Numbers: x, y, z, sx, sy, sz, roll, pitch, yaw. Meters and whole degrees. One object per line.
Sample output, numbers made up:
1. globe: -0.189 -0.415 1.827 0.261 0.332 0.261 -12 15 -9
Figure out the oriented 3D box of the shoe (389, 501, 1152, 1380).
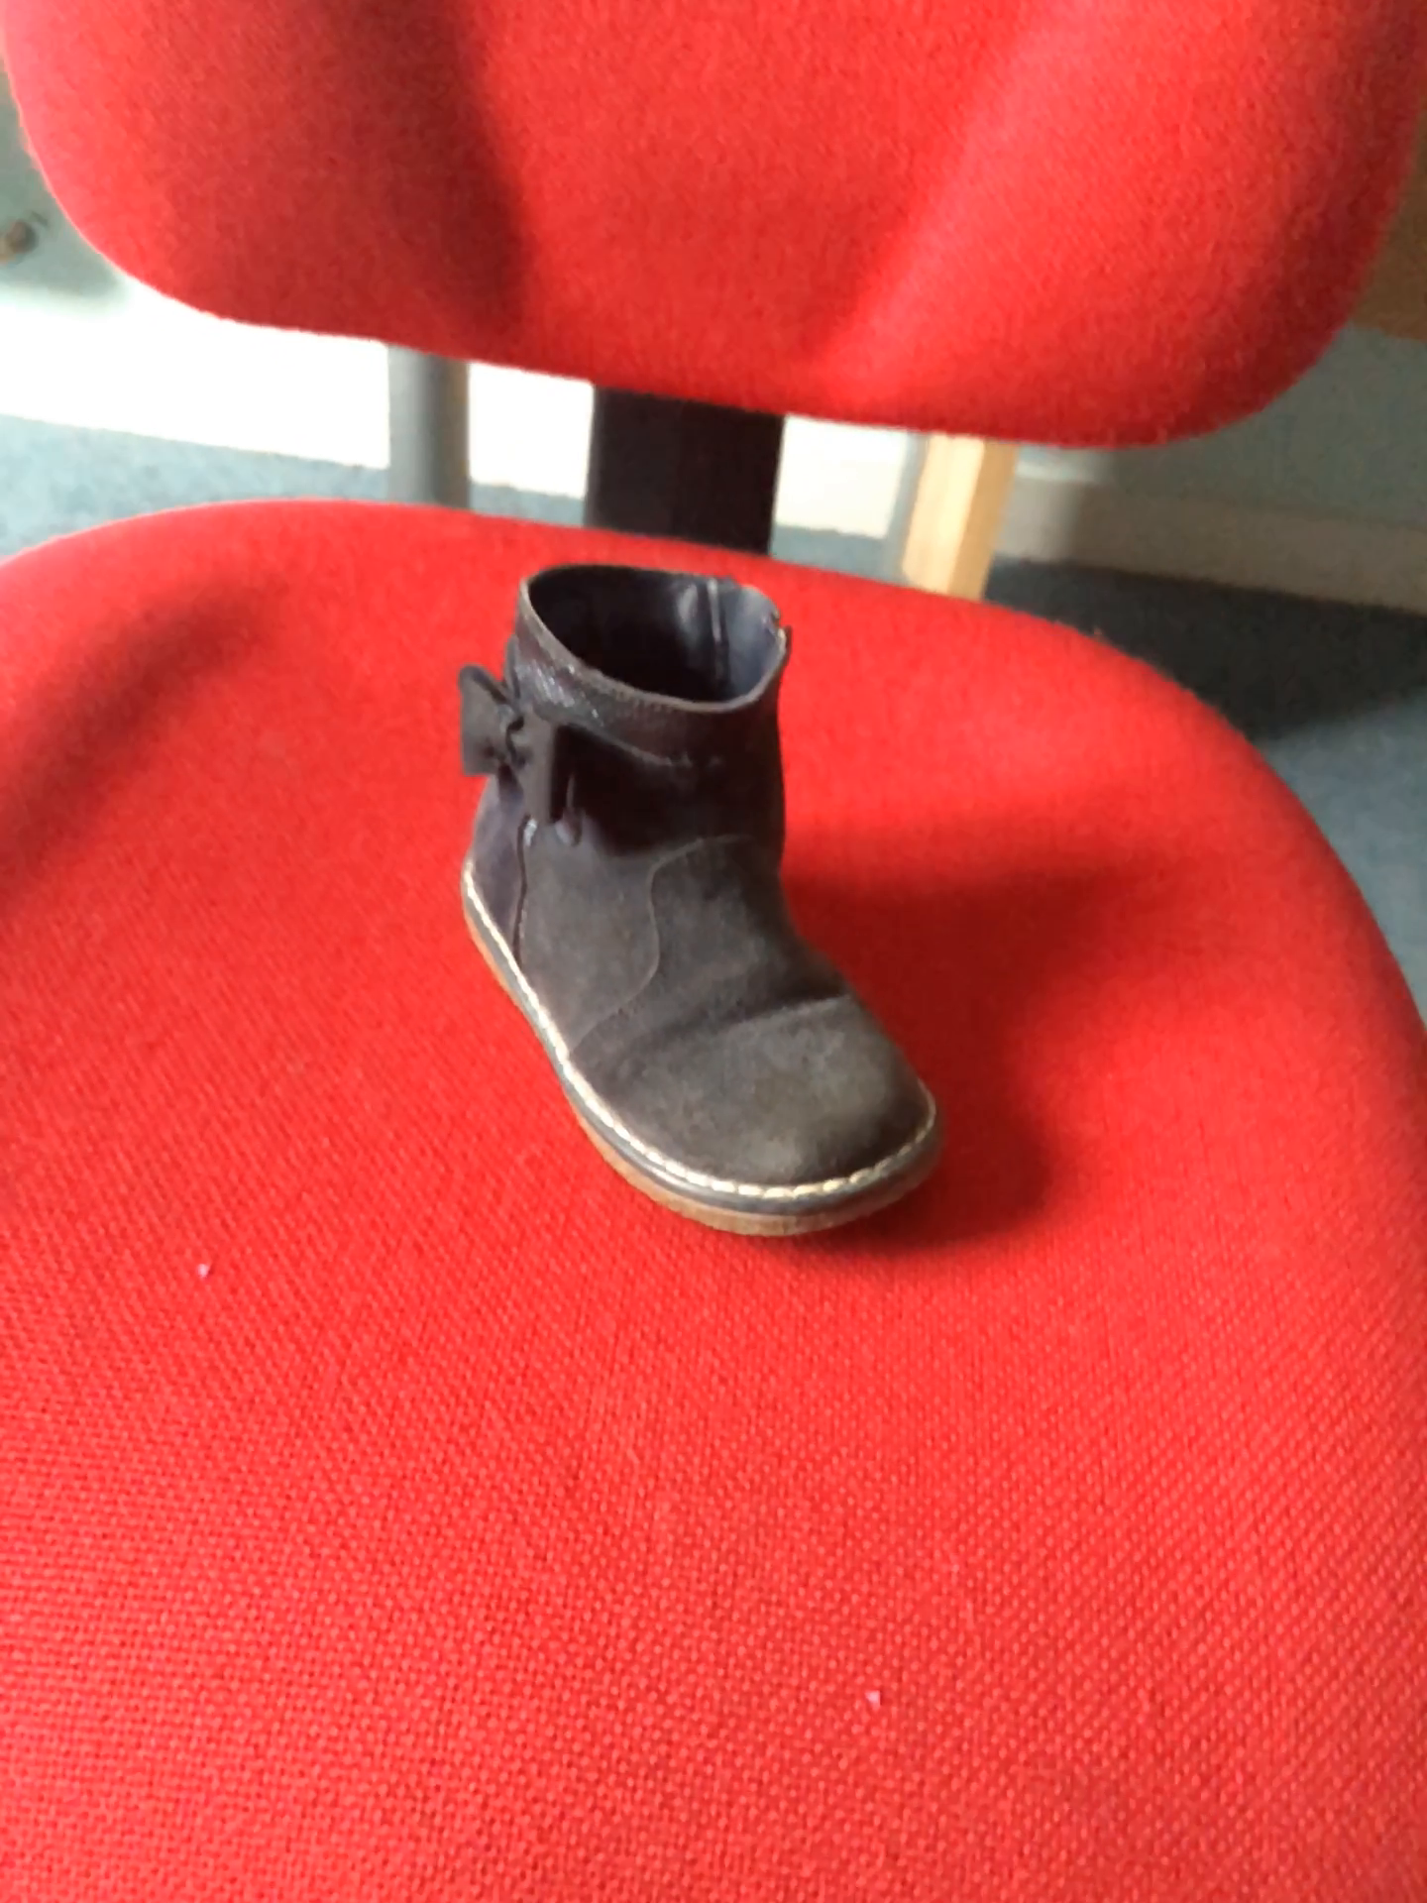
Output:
1. shoe: 0.000 -0.009 0.346 0.080 0.099 0.150 -22 53 -26
